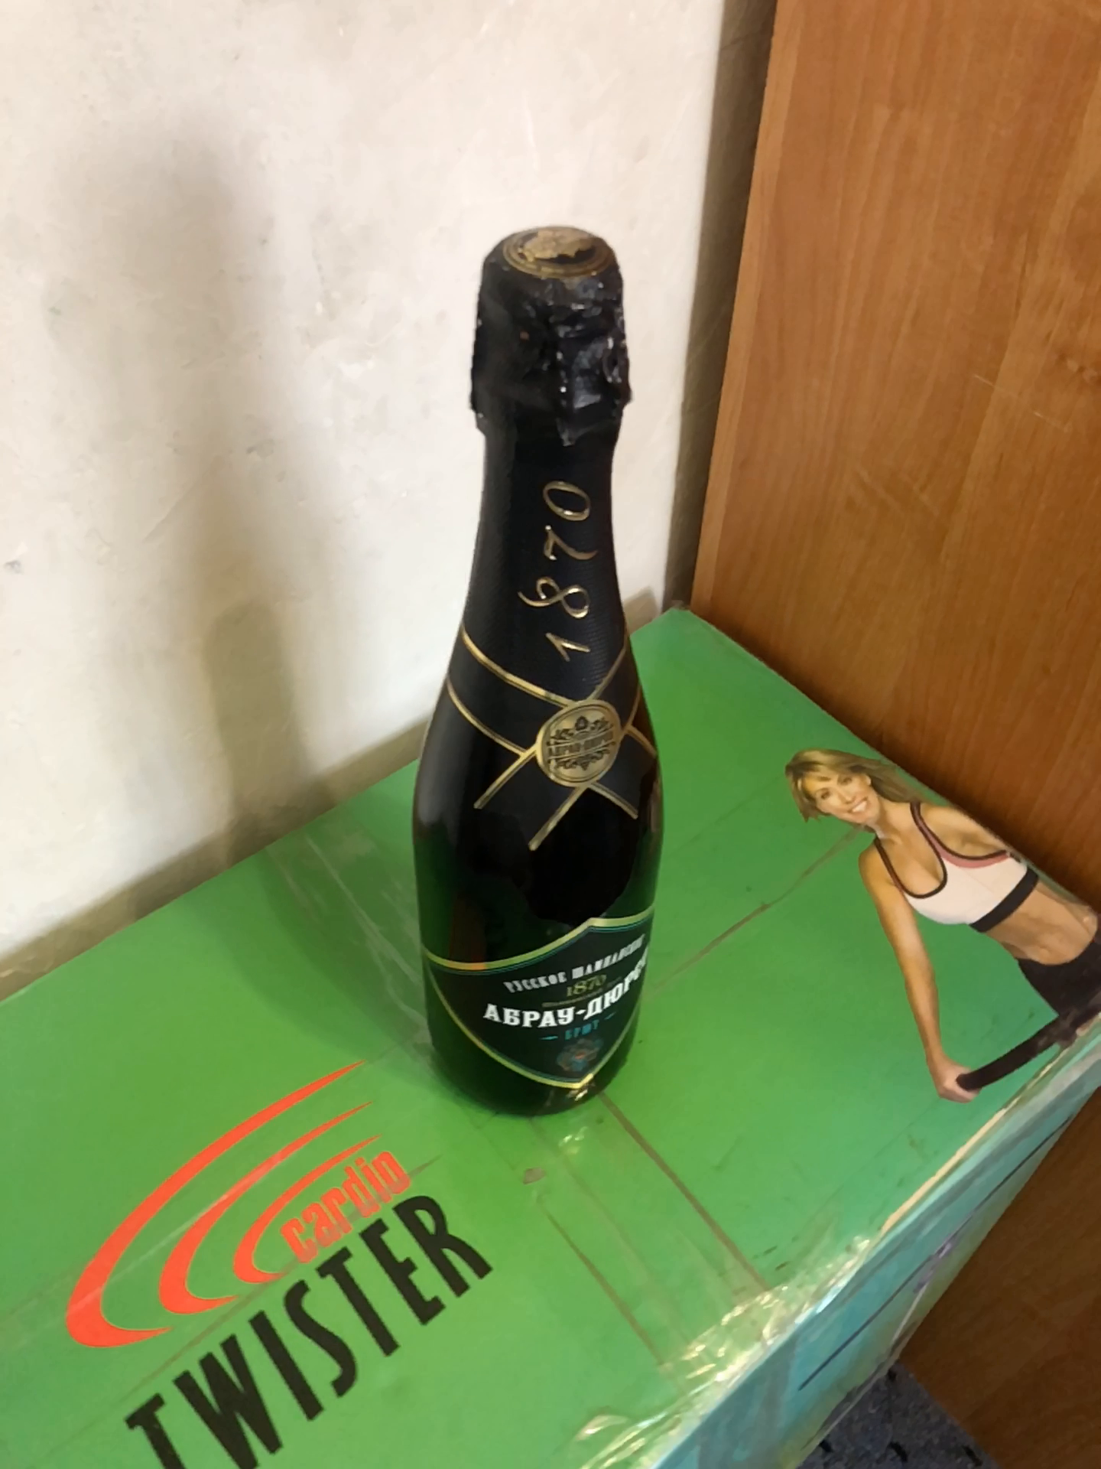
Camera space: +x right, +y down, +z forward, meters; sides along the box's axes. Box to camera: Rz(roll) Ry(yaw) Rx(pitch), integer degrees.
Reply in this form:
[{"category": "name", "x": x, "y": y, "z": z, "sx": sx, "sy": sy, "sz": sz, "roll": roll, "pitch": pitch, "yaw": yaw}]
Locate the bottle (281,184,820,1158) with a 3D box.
[{"category": "bottle", "x": -0.005, "y": 0.009, "z": 0.368, "sx": 0.090, "sy": 0.300, "sz": 0.090, "roll": 0, "pitch": 47, "yaw": 0}]
